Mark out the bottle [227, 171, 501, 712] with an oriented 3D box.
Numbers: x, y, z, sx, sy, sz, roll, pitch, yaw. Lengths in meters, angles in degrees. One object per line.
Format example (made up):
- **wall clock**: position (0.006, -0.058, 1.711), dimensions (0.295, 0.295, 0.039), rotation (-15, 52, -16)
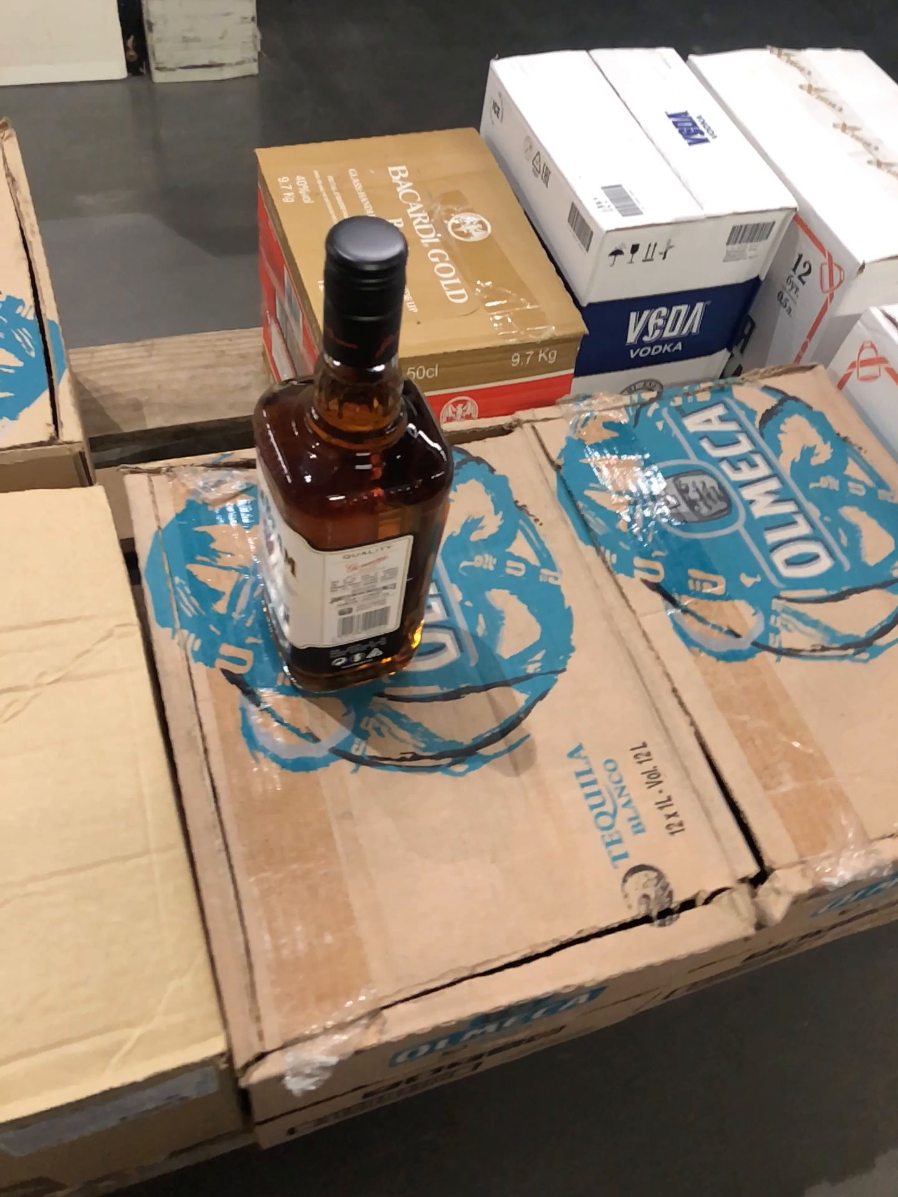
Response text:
- **bottle**: position (-0.050, -0.057, 0.479), dimensions (0.081, 0.263, 0.091), rotation (-13, 58, -17)
